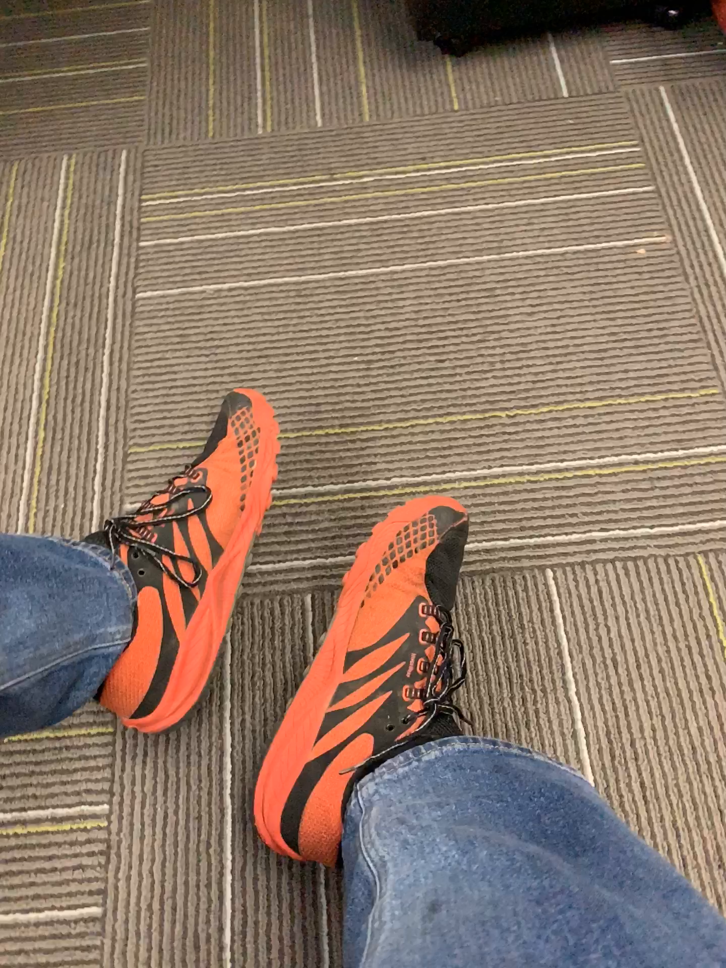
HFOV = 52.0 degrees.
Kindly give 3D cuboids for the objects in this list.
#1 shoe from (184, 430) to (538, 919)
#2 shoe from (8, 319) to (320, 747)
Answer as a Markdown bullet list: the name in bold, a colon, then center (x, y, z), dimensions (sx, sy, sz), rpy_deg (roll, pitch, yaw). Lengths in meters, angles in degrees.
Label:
- **shoe**: center (0.018, 0.137, 0.567), dimensions (0.108, 0.138, 0.318), rpy_deg (15, 67, 29)
- **shoe**: center (-0.158, 0.038, 0.615), dimensions (0.108, 0.128, 0.308), rpy_deg (29, 65, -29)
